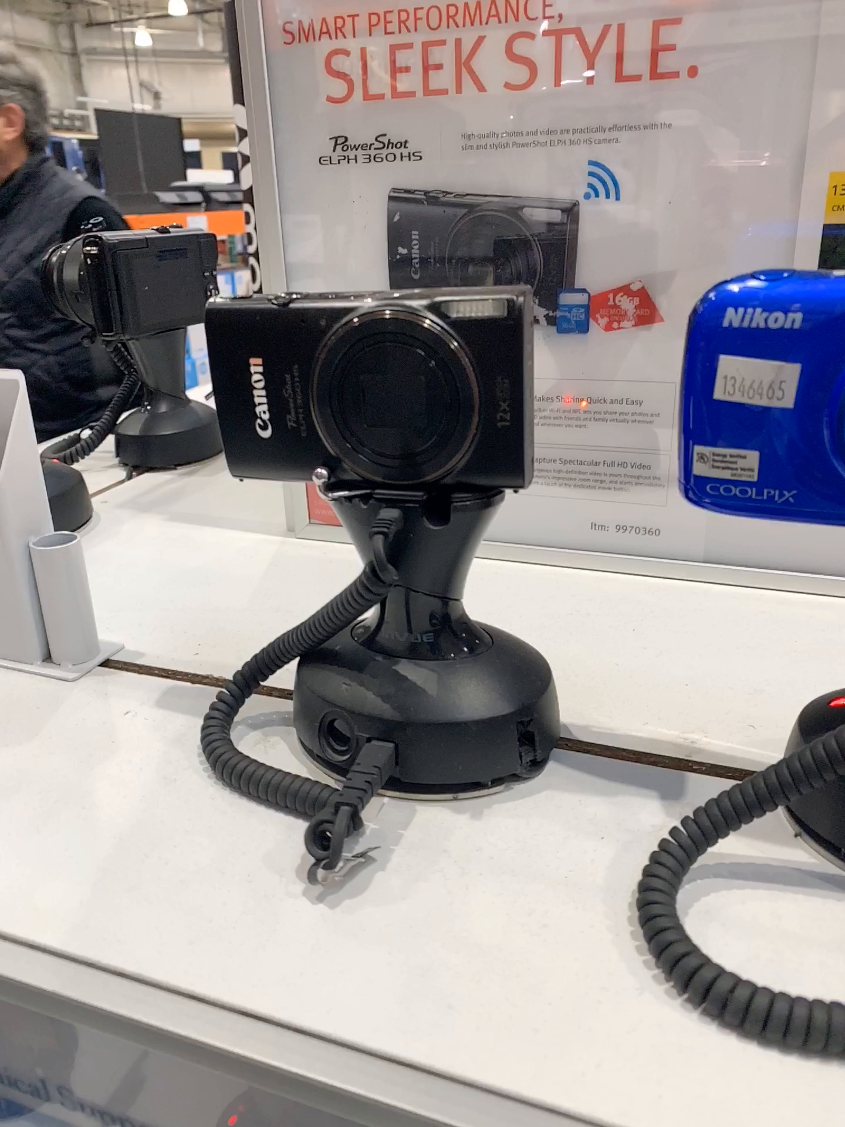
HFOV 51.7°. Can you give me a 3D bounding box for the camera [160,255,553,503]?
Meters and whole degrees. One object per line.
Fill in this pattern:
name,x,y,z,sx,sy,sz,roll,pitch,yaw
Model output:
camera,-0.016,-0.055,0.250,0.100,0.060,0.040,4,23,15
